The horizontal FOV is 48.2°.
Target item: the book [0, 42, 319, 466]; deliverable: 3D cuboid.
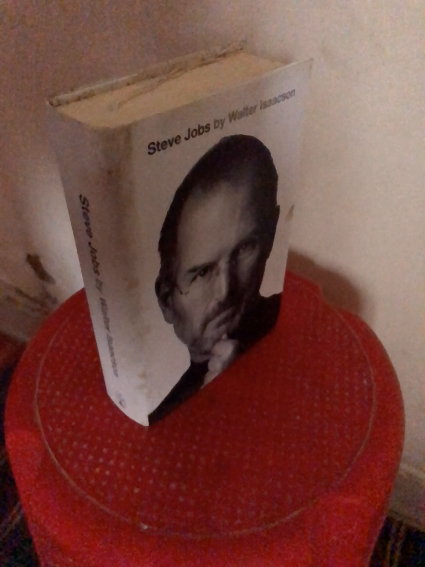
[{"bbox_3d":[-0.019,-0.015,0.317,0.060,0.229,0.170,32,49,32],"label":"book"}]
